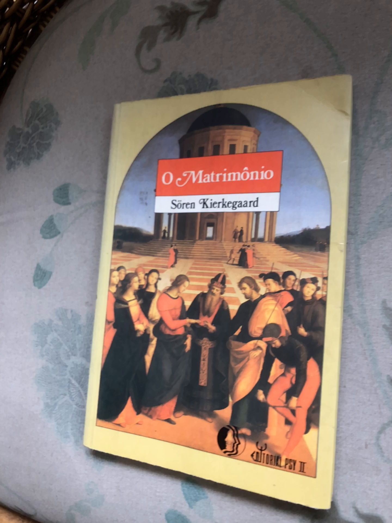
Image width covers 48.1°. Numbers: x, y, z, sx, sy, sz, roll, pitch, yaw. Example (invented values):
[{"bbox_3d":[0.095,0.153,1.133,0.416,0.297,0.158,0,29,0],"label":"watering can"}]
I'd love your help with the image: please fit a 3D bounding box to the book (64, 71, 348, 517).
[{"bbox_3d":[0.000,0.009,0.236,0.140,0.020,0.200,3,87,25],"label":"book"}]
